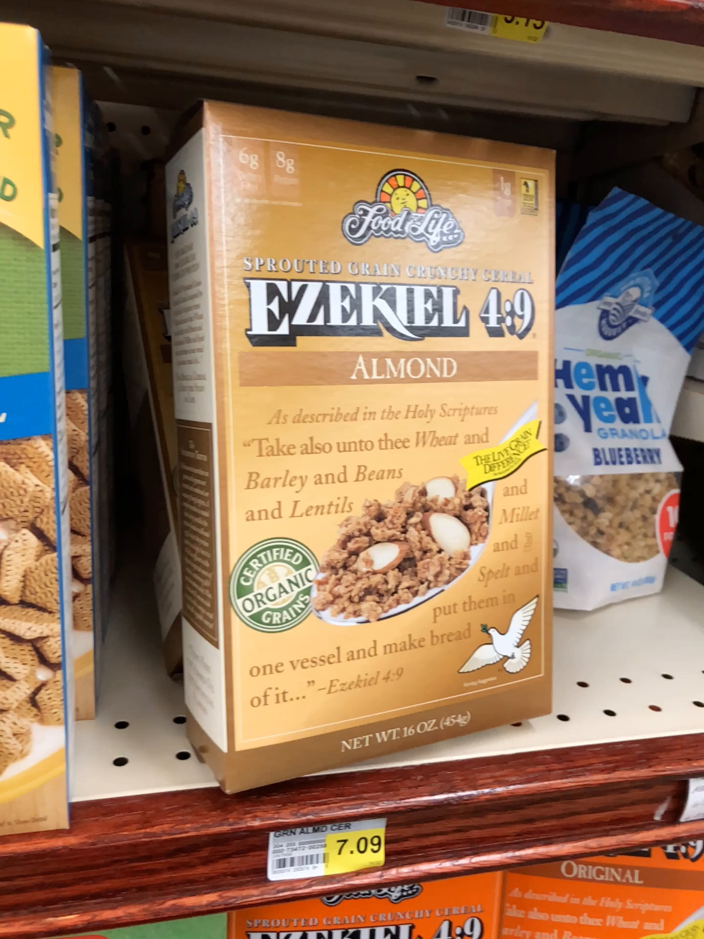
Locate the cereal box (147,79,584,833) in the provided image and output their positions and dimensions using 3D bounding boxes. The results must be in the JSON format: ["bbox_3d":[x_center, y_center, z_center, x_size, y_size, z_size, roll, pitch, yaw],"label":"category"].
[{"bbox_3d":[0.008,-0.006,0.284,0.140,0.220,0.060,-4,6,-25],"label":"cereal box"}]
